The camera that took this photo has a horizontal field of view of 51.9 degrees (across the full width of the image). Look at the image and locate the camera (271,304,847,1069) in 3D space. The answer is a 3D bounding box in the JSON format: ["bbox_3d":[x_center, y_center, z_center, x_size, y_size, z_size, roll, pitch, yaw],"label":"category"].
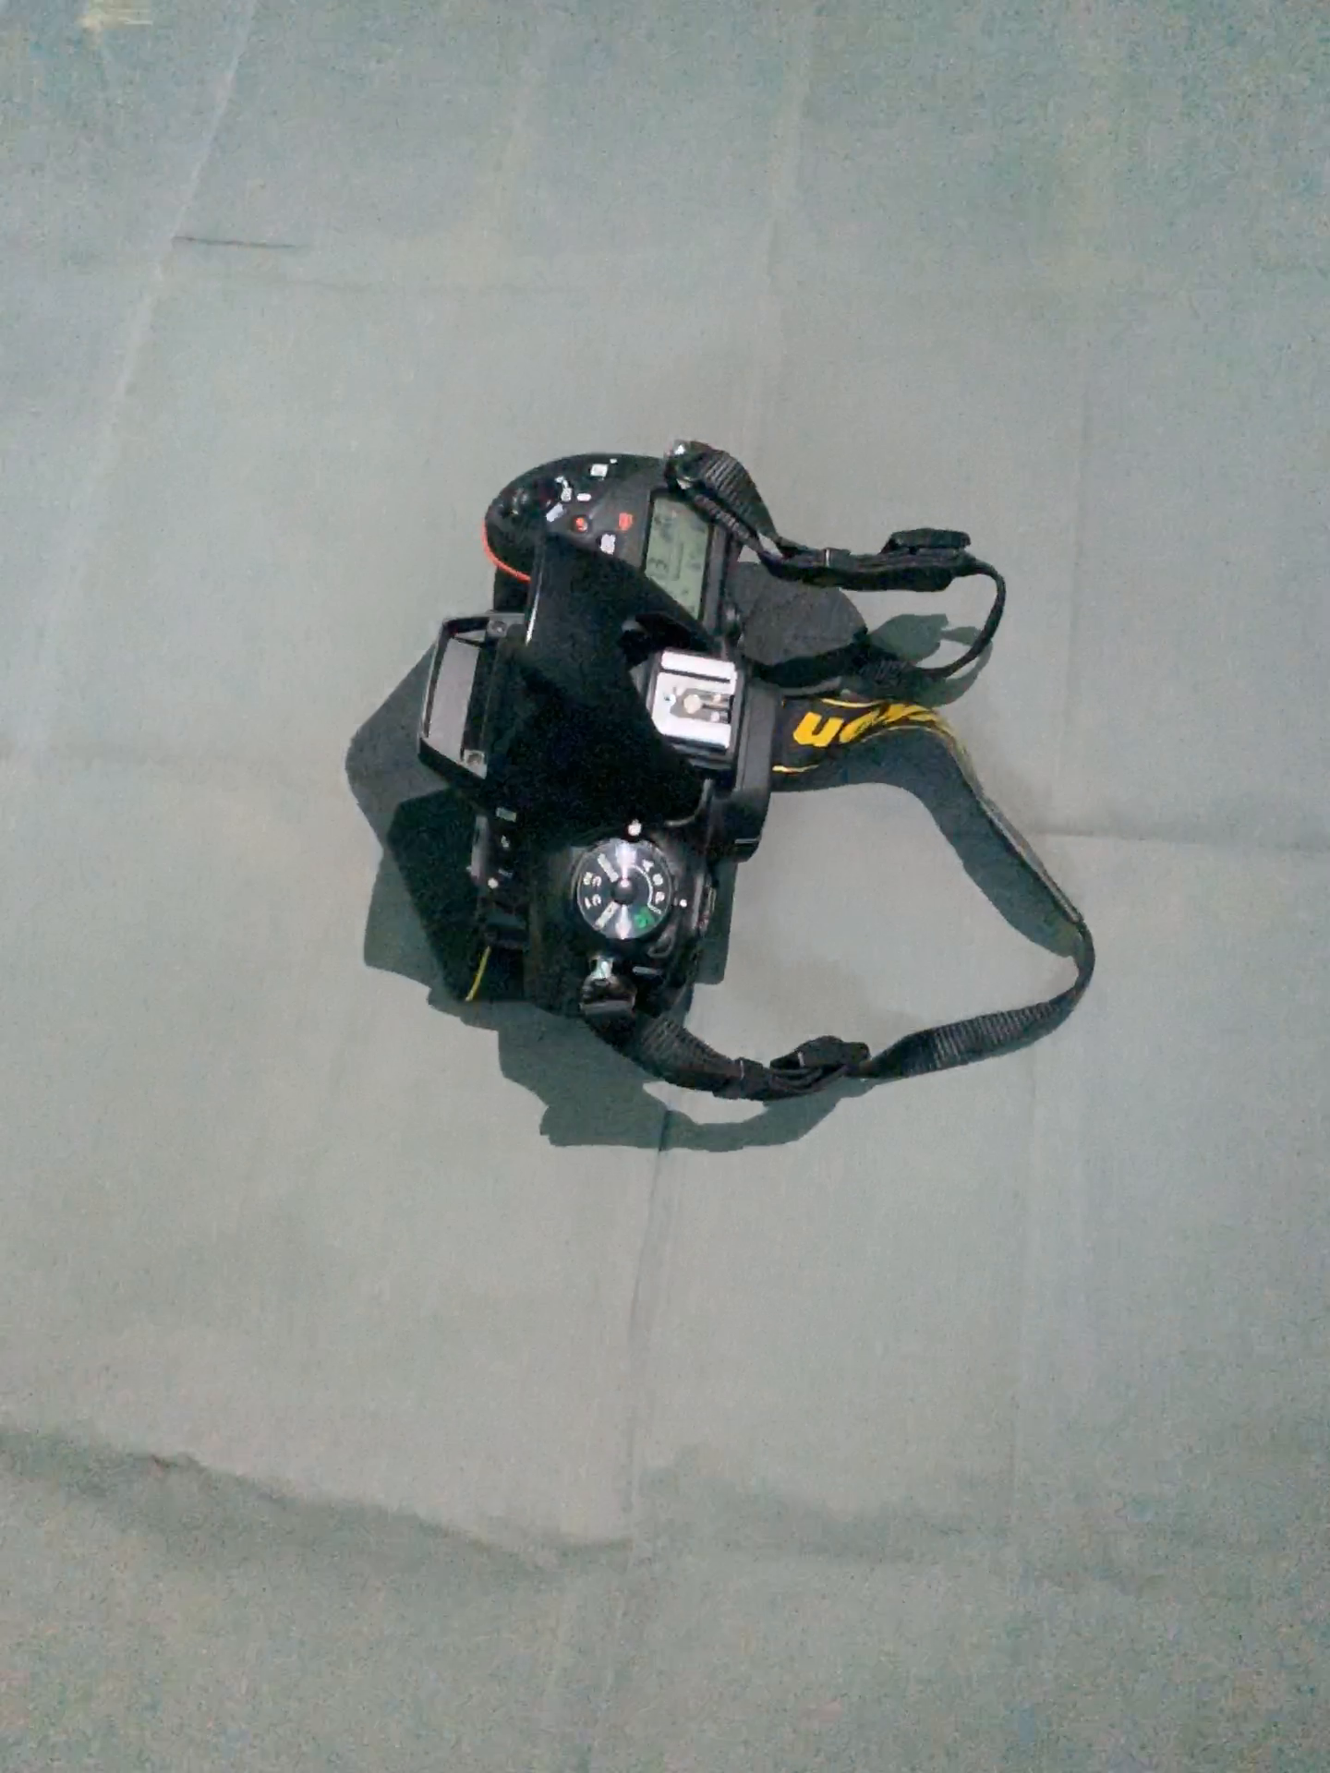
[{"bbox_3d":[-0.017,-0.042,0.351,0.100,0.126,0.140,8,70,4],"label":"camera"}]
